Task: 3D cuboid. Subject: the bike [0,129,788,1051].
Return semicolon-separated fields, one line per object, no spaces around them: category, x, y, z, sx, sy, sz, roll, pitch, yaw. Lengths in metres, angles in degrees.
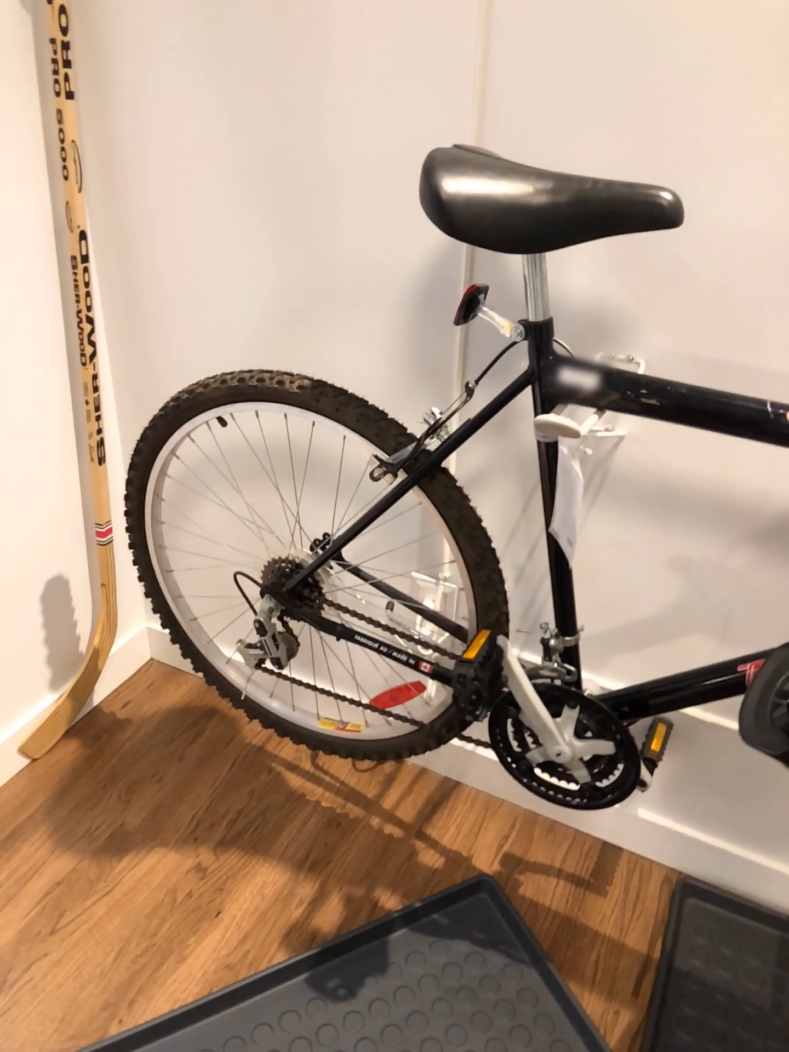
bike;0.280;0.192;1.024;1.570;0.845;0.559;25;37;25
